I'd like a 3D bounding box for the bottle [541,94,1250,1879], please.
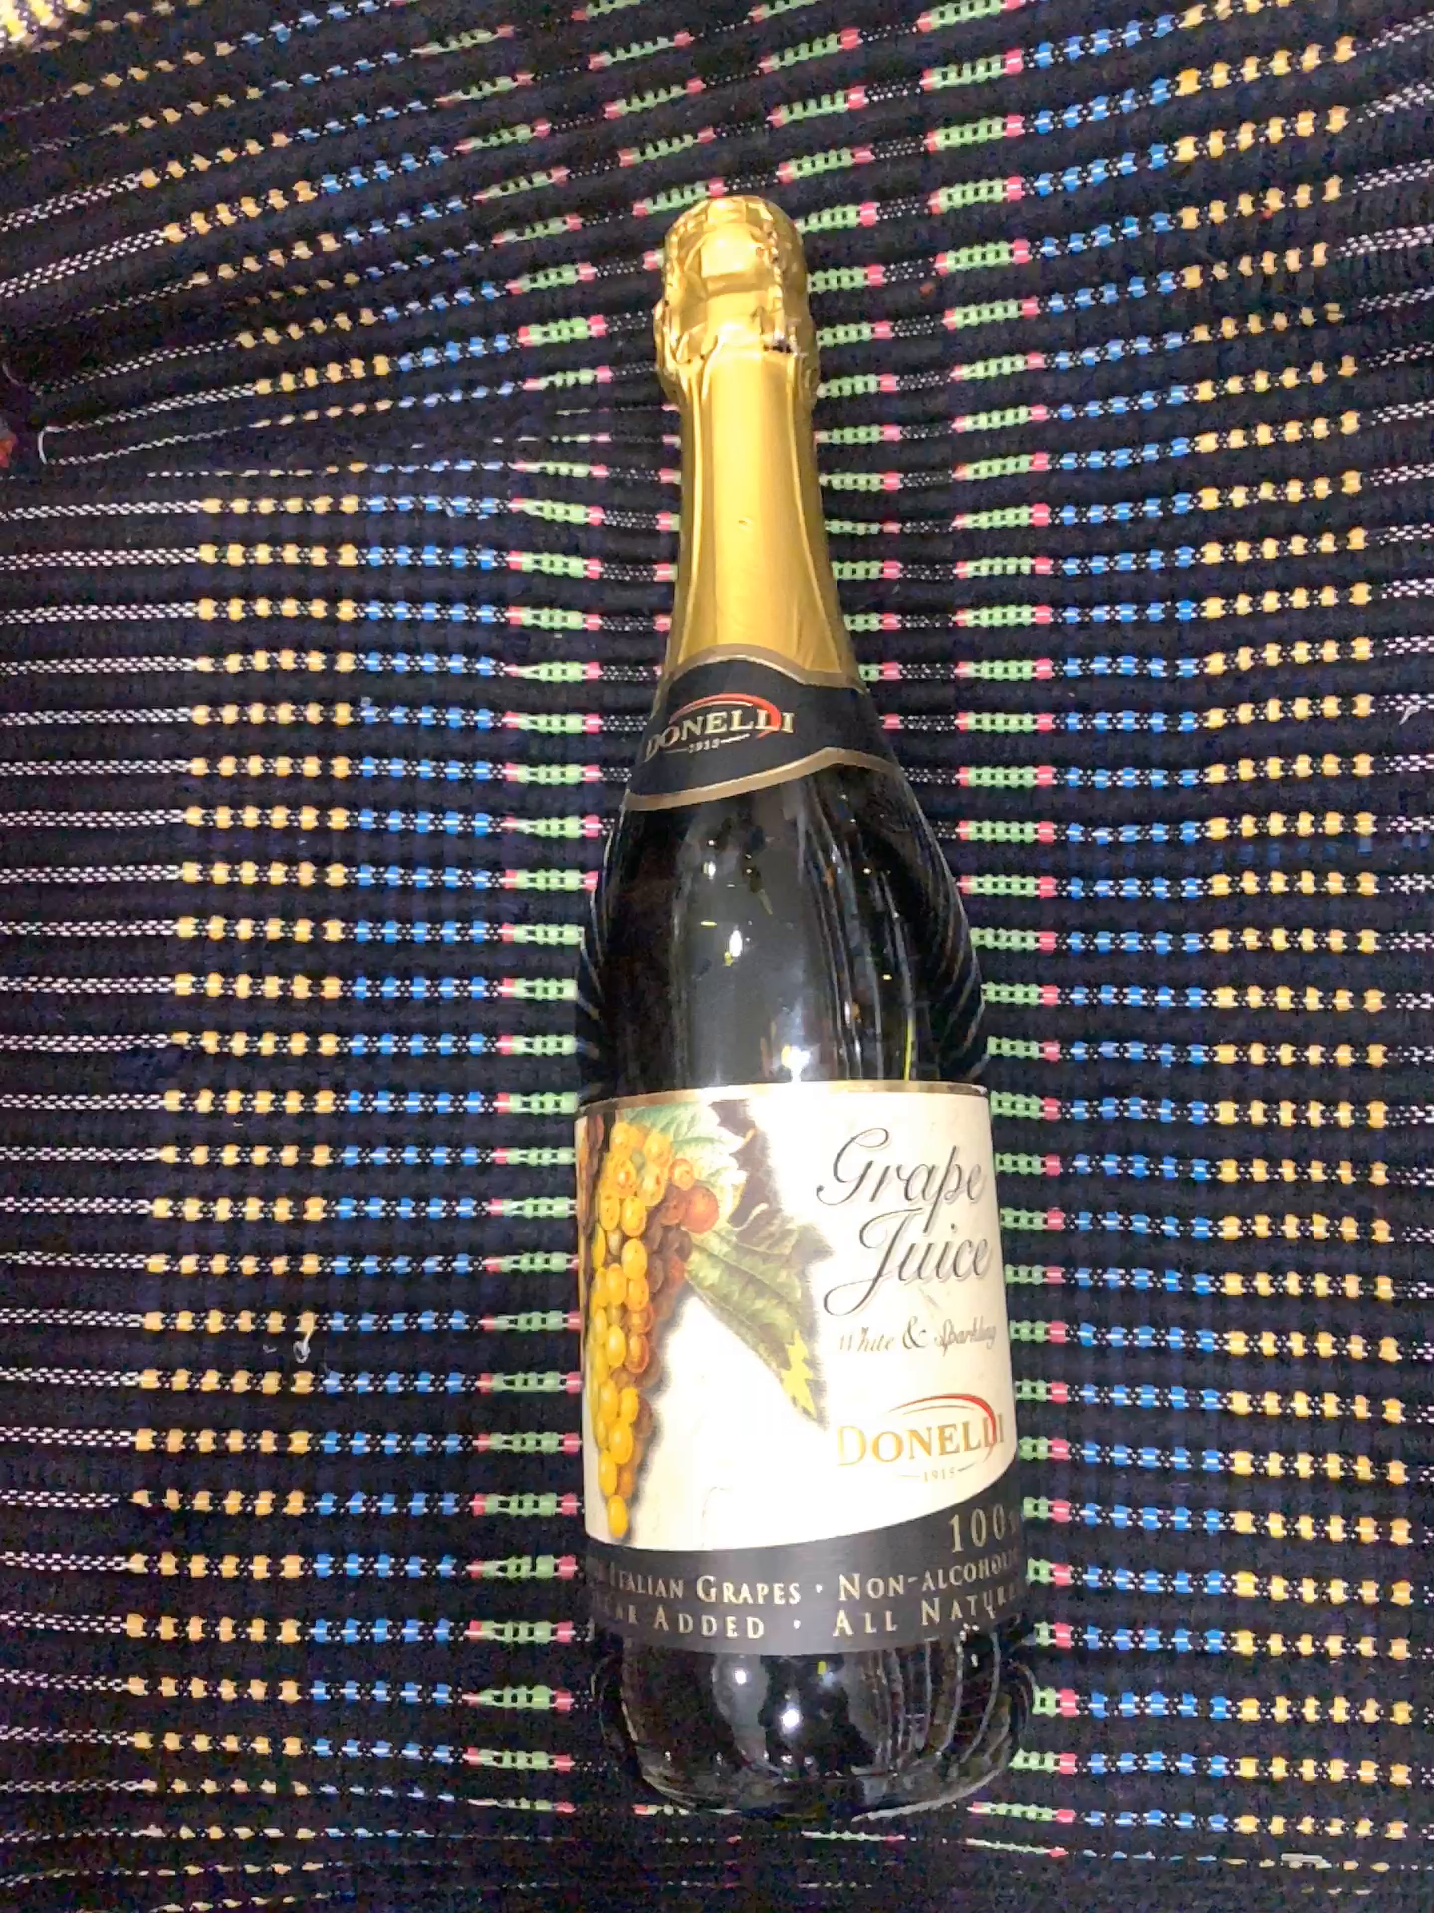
[{"bbox_3d":[0.017,-0.012,0.281,0.090,0.080,0.300,-2,73,-4],"label":"bottle"}]
